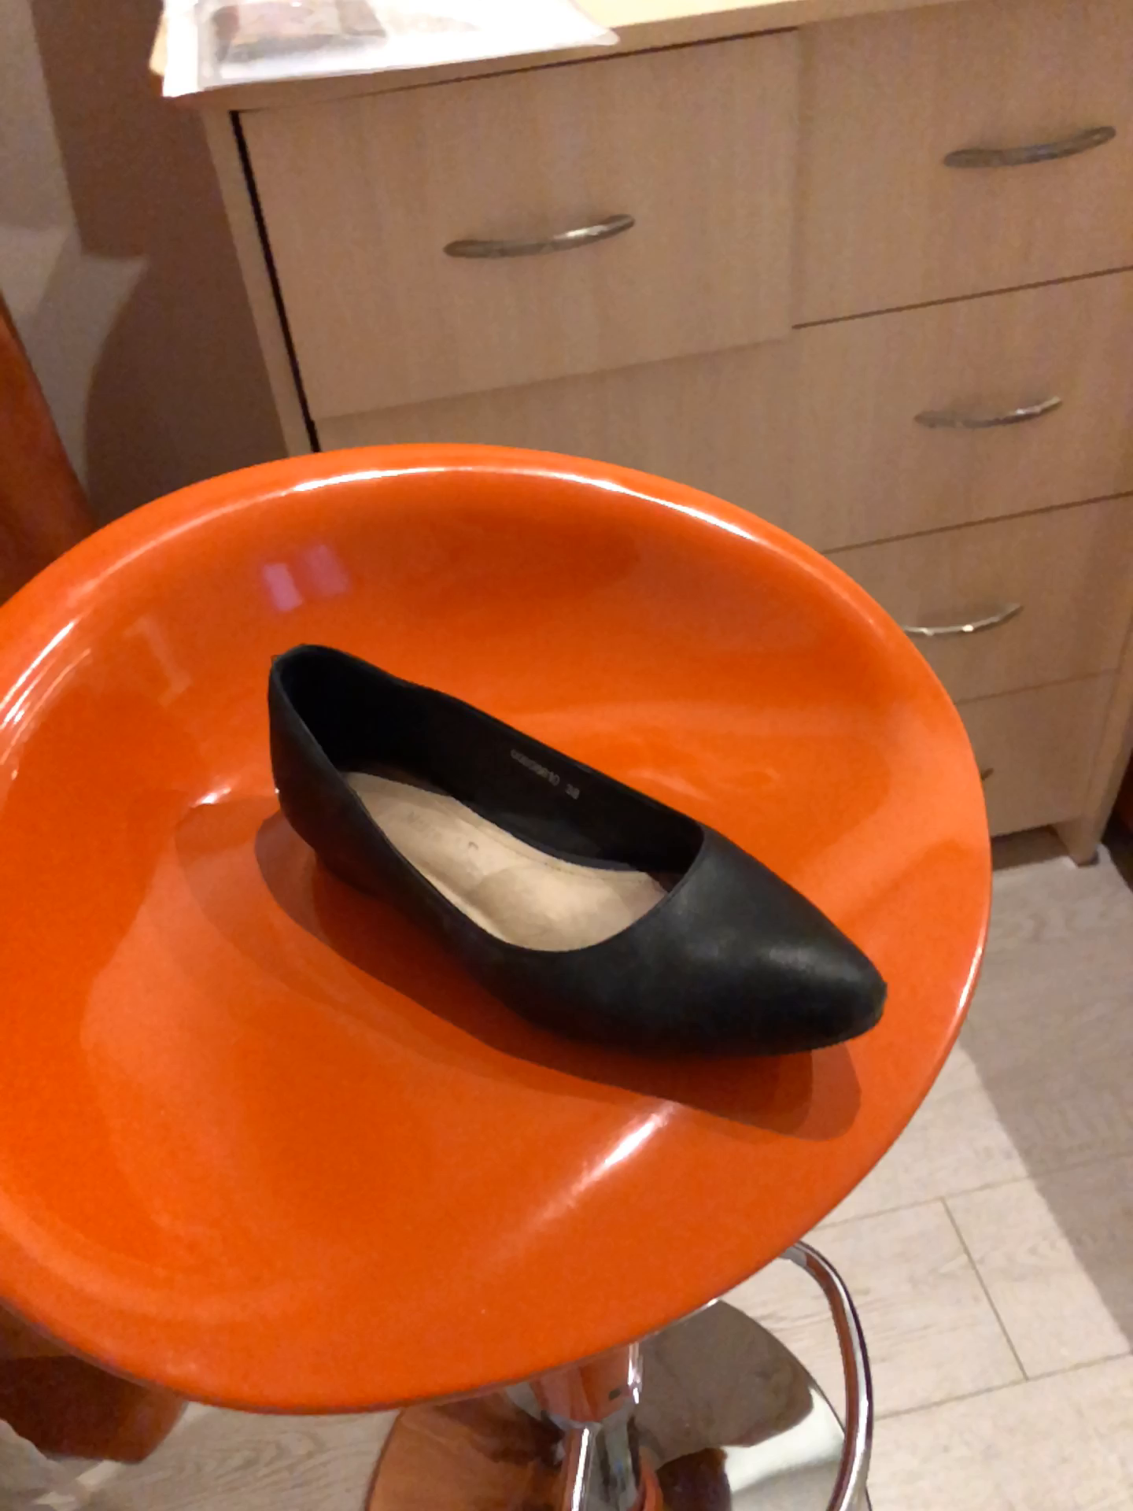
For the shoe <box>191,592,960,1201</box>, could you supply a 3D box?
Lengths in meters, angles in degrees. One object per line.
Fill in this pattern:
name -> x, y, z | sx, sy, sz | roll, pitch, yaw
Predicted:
shoe -> -0.006, 0.034, 0.445 | 0.261, 0.079, 0.090 | 24, 50, 32
